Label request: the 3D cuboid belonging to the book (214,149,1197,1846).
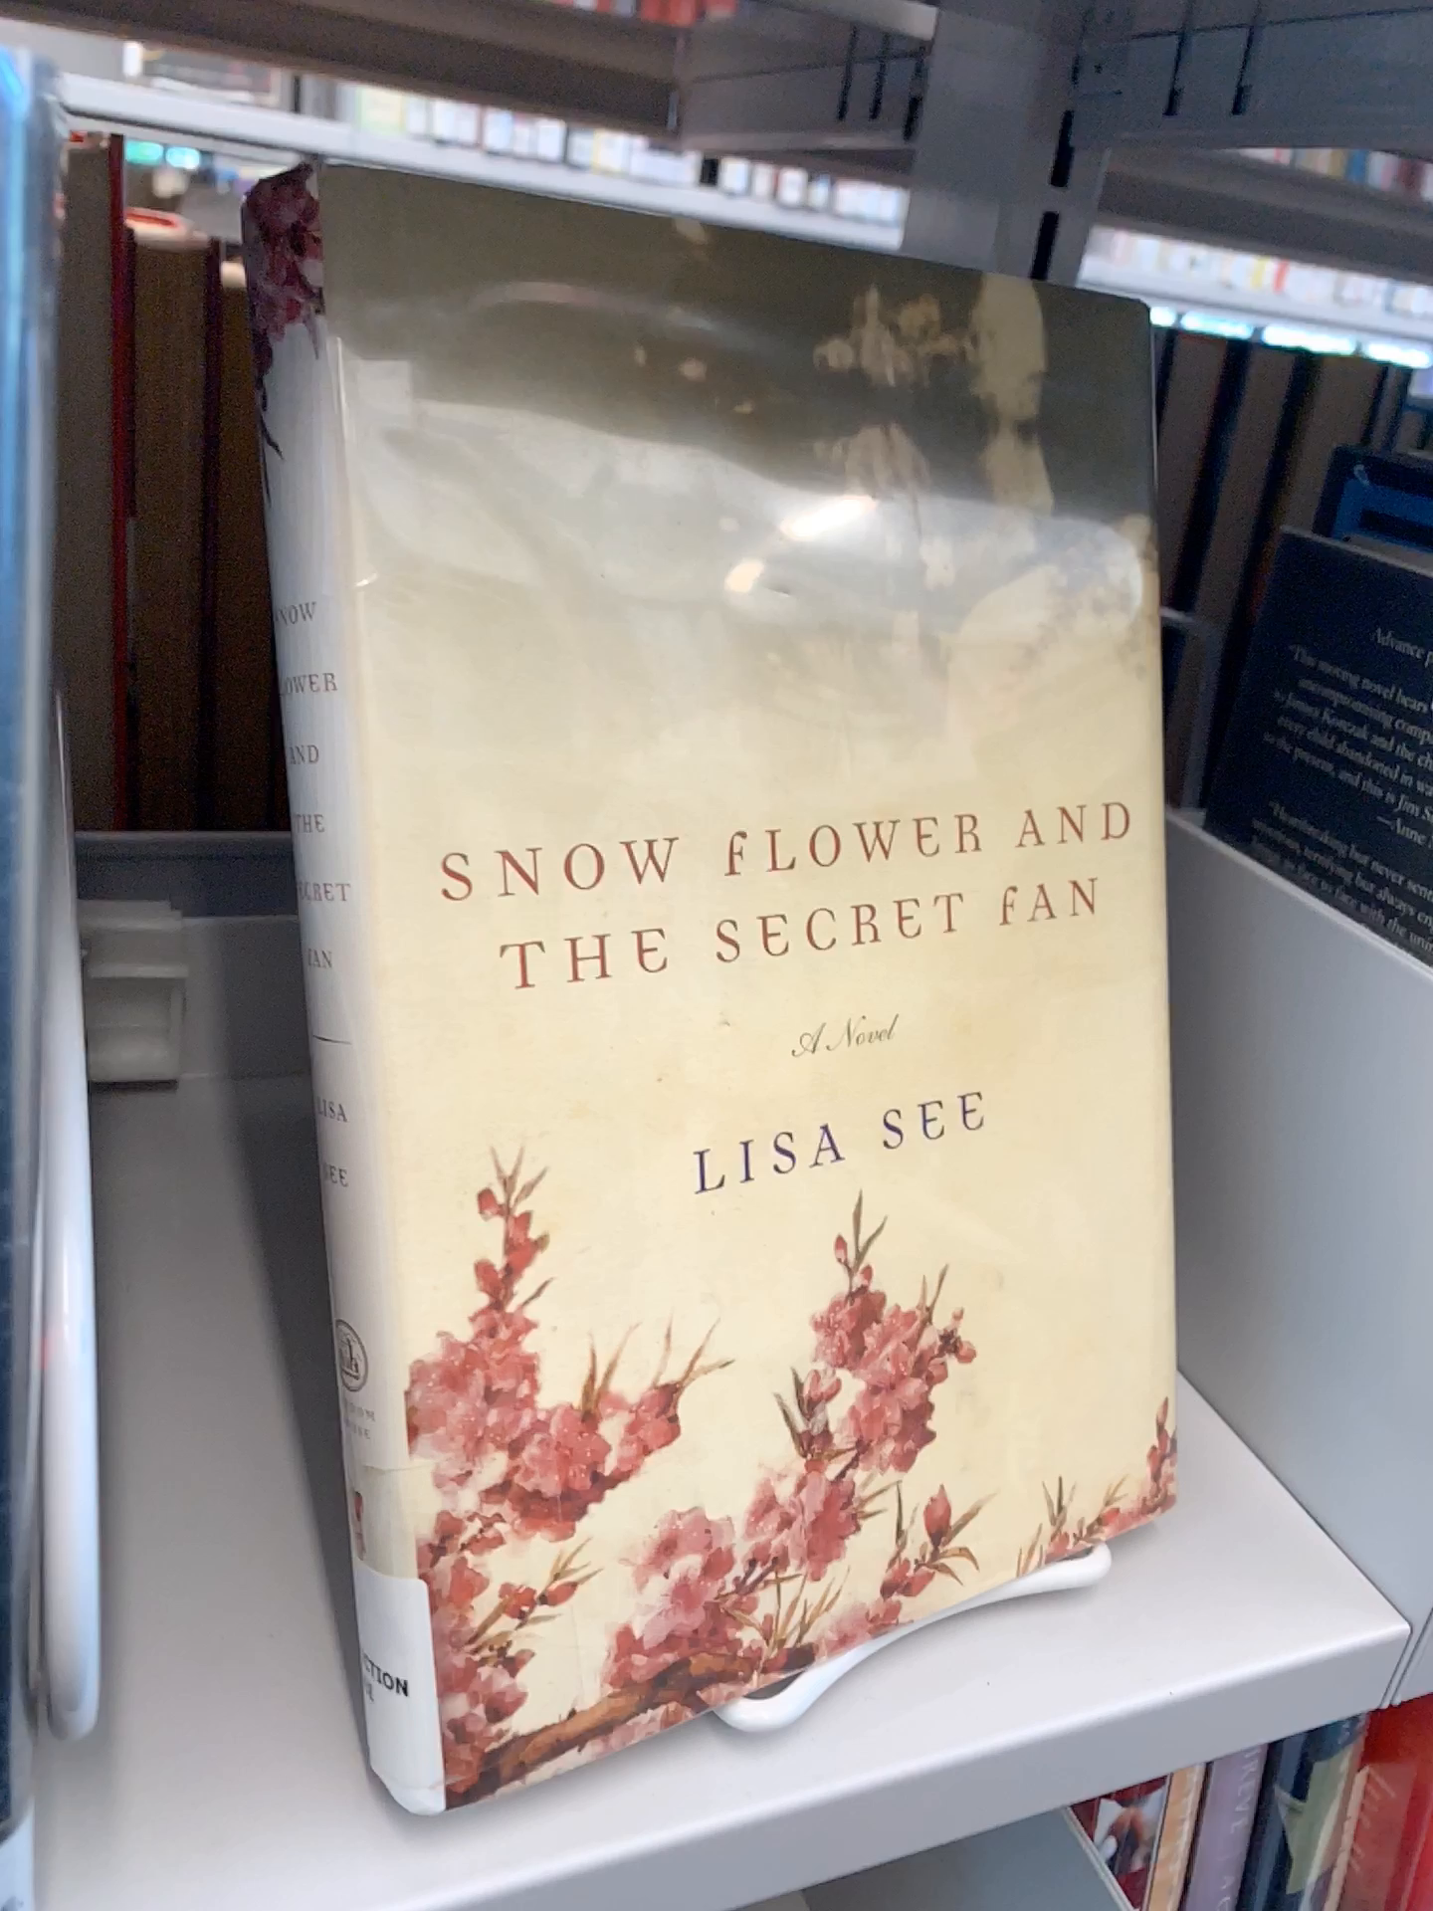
[{"bbox_3d":[0.011,0.002,0.261,0.163,0.231,0.041,-7,7,-32],"label":"book"}]
